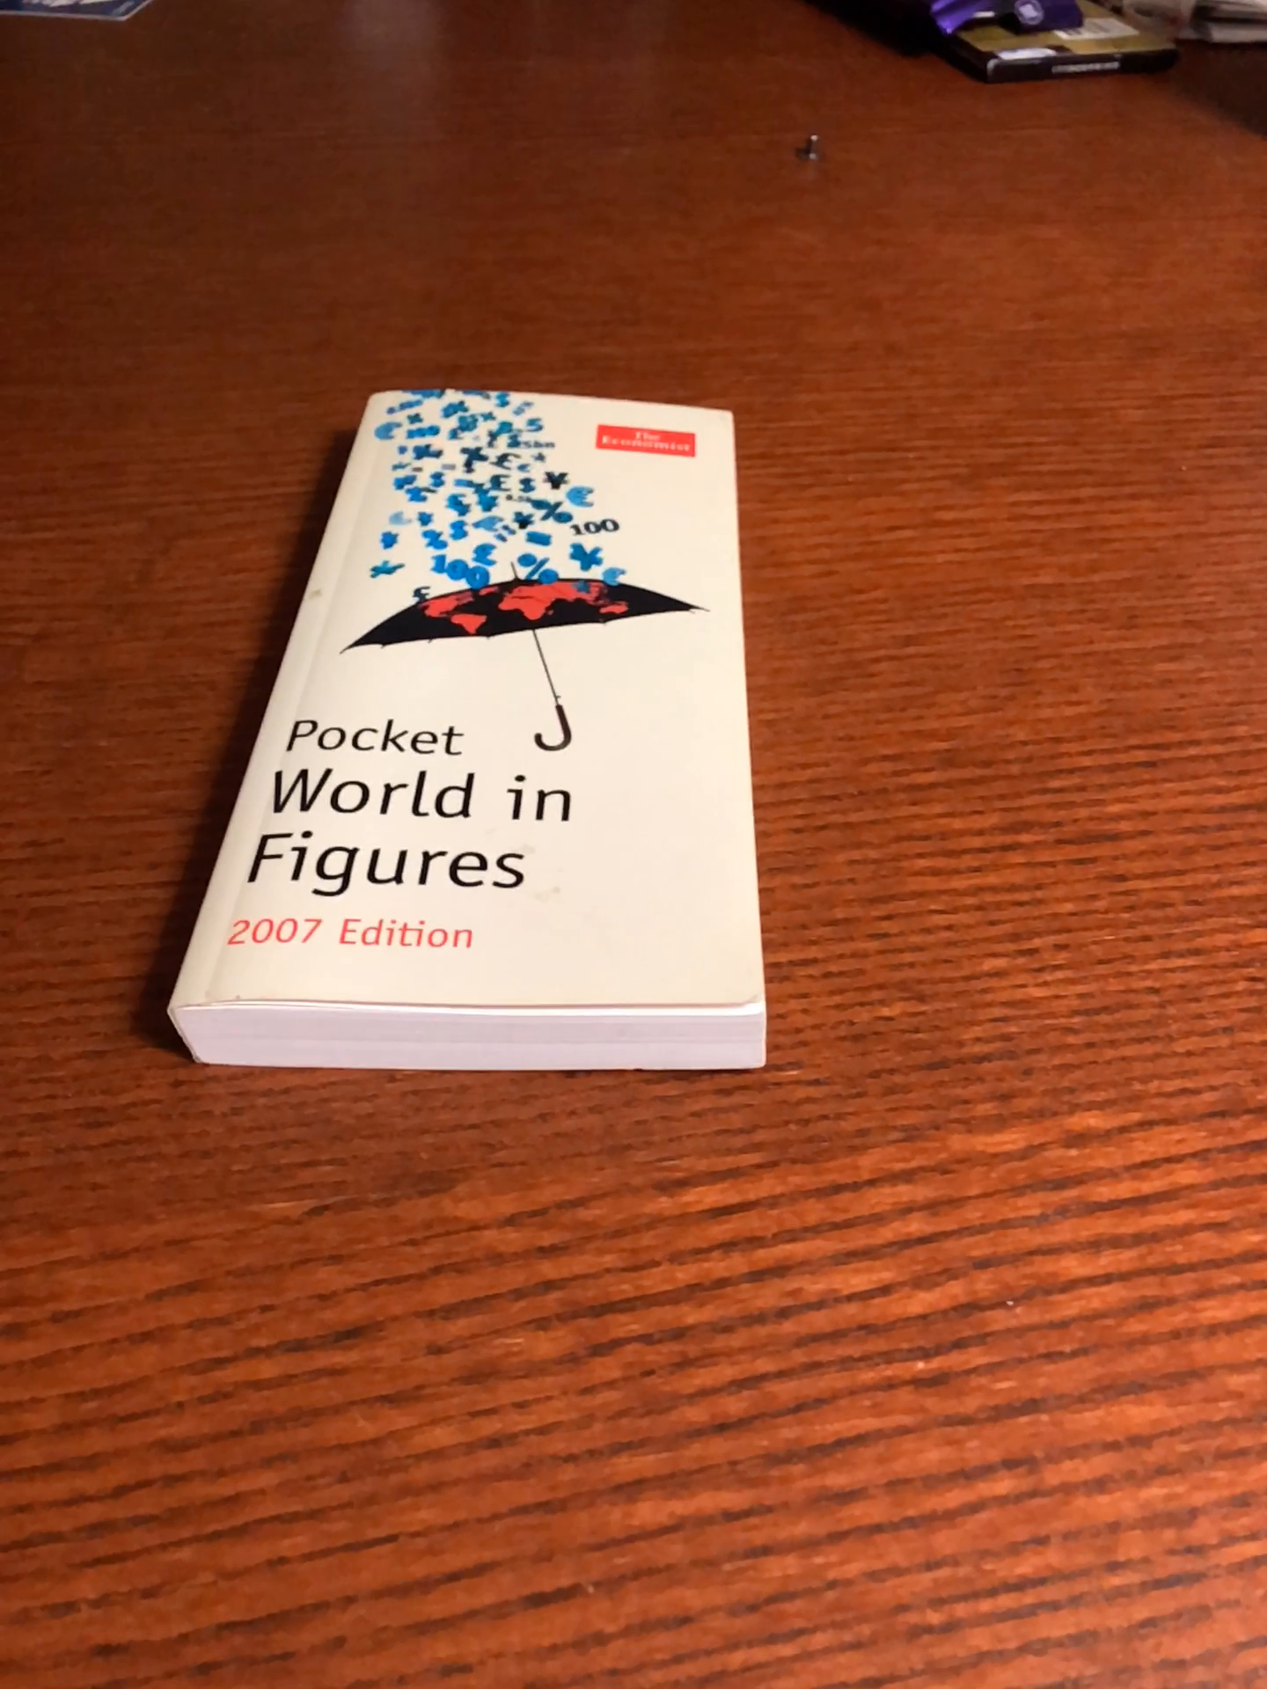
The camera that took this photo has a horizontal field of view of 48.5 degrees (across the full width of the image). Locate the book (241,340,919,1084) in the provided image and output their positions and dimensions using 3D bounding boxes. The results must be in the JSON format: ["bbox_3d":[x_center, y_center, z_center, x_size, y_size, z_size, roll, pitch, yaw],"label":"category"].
[{"bbox_3d":[-0.006,-0.044,0.290,0.100,0.030,0.201,2,44,0],"label":"book"}]
